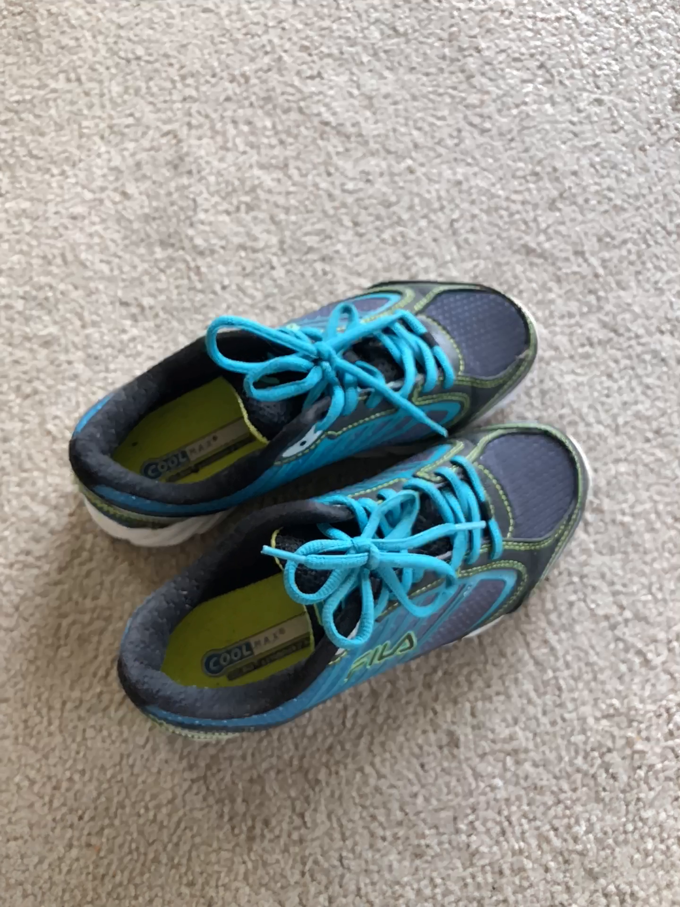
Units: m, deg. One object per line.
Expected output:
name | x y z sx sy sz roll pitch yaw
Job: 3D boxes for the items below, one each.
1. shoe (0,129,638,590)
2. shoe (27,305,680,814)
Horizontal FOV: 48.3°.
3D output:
shoe | -0.013 -0.041 0.392 0.274 0.119 0.102 -24 76 -8
shoe | 0.020 0.051 0.363 0.271 0.119 0.105 -23 73 -7
